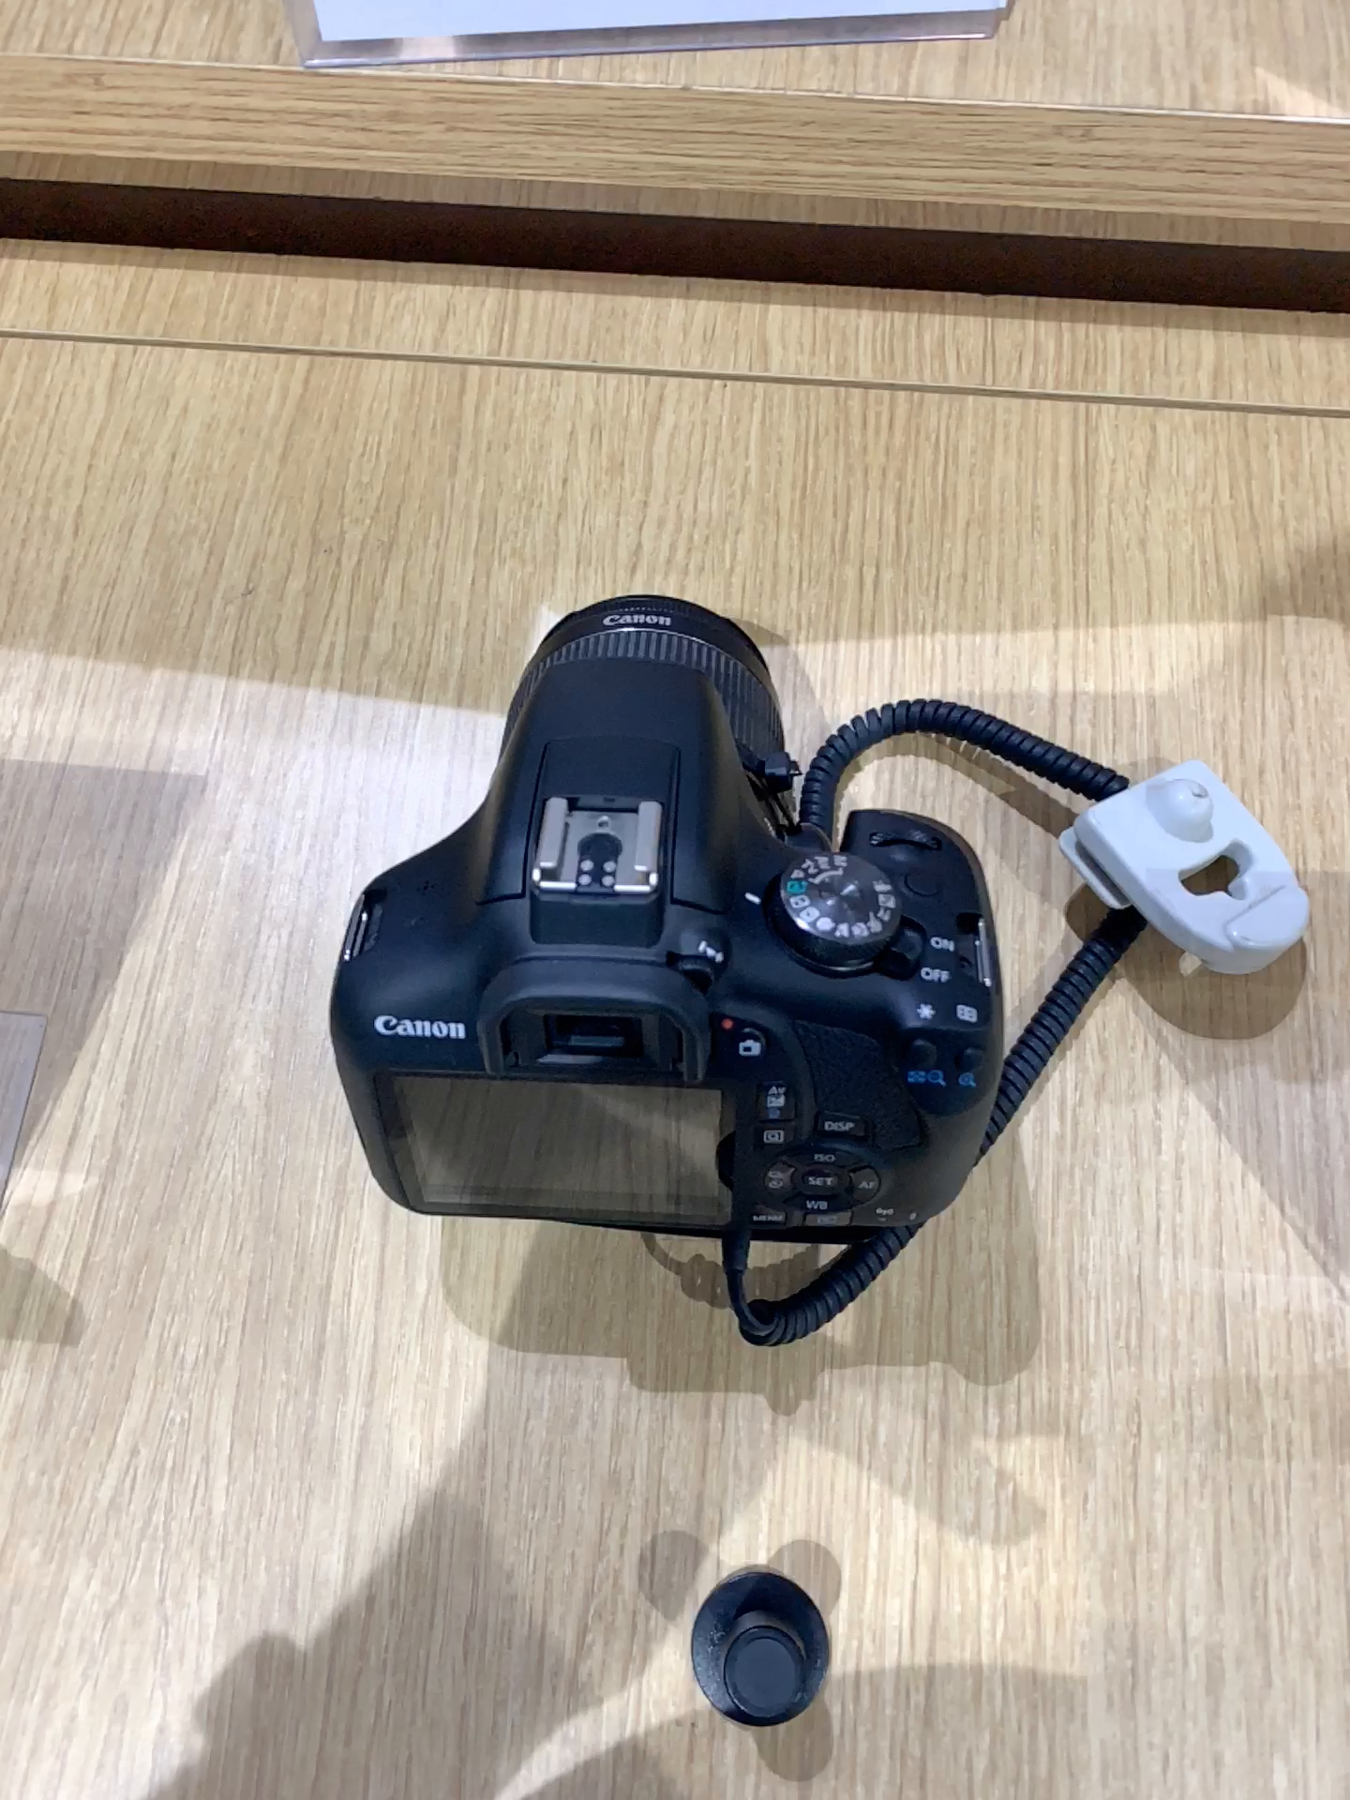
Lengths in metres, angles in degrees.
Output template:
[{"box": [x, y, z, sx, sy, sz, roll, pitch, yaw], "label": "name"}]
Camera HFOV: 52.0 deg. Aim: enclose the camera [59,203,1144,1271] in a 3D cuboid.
[{"box": [-0.006, -0.021, 0.257, 0.140, 0.110, 0.160, 2, 71, 2], "label": "camera"}]
